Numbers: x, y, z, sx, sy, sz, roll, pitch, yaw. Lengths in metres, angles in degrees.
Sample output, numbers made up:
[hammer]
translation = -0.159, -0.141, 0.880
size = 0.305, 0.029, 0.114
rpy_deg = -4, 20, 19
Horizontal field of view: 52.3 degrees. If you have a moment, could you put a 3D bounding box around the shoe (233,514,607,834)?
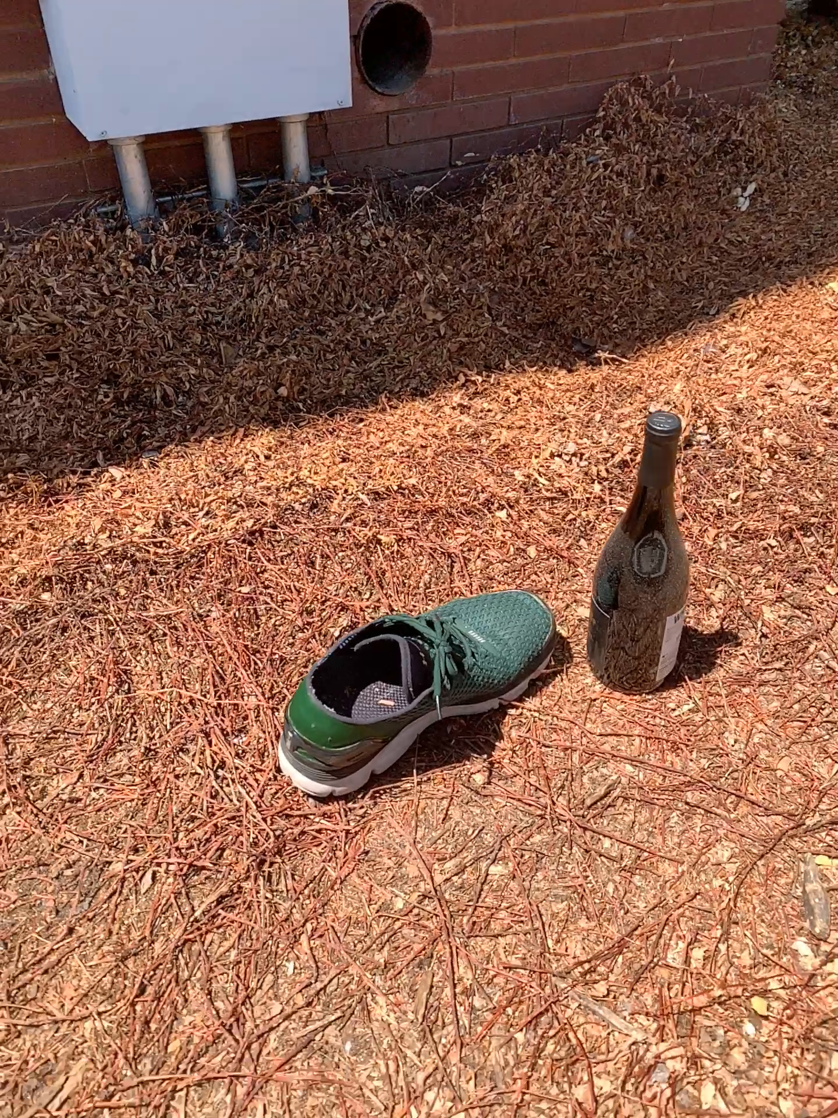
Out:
[shoe]
translation = 0.009, 0.091, 0.789
size = 0.320, 0.099, 0.131
rpy_deg = -28, 49, -28
